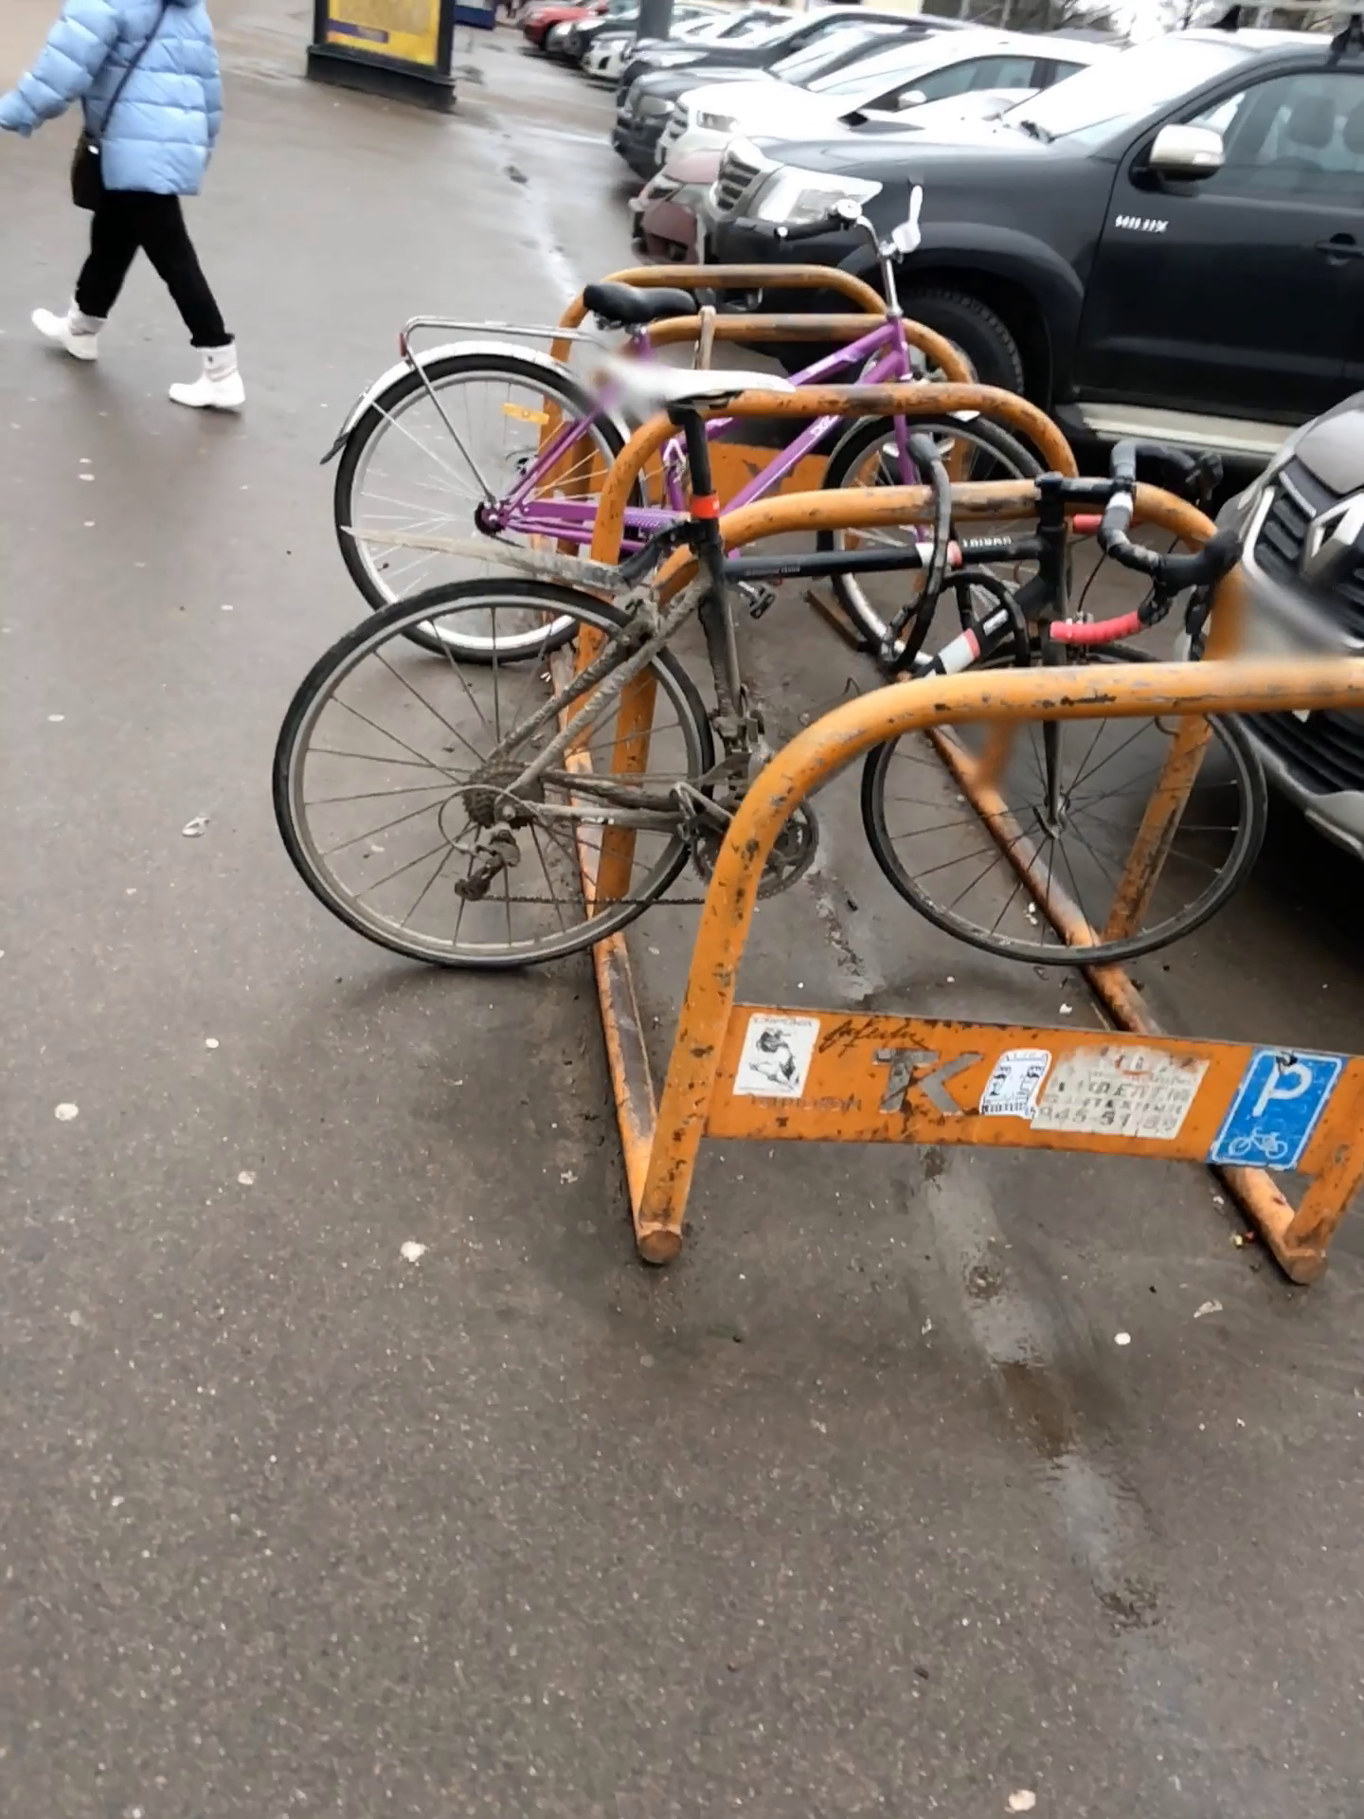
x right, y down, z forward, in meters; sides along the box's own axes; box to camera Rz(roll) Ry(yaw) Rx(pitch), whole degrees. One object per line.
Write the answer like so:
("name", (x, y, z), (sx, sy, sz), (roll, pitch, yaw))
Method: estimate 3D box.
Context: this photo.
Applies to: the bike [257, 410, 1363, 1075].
("bike", (0.179, -0.229, 2.220), (1.516, 0.761, 0.492), (3, 30, -10))
